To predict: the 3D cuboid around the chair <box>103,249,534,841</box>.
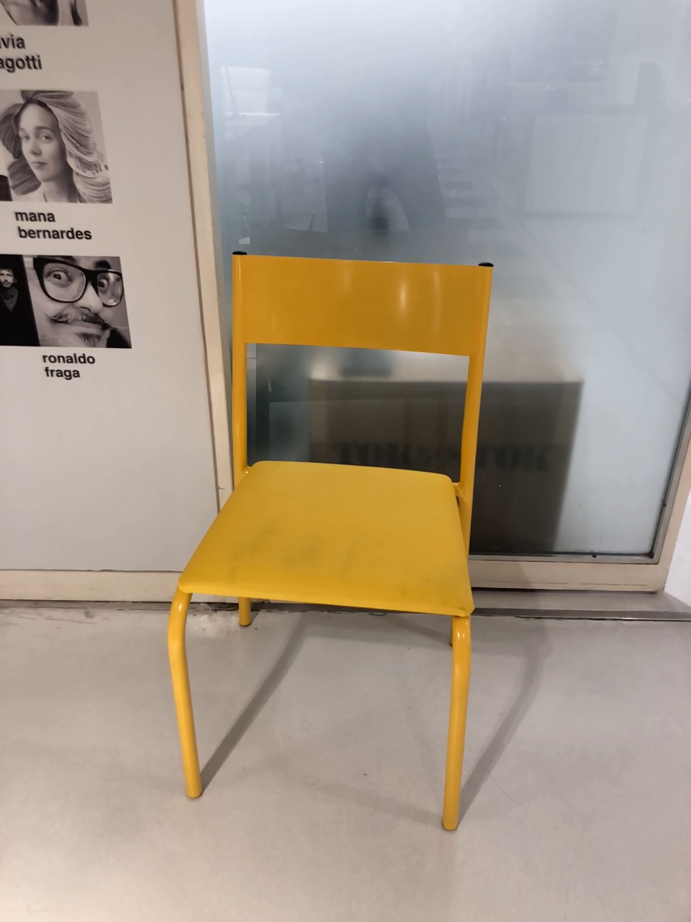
[{"bbox_3d":[-0.007,0.114,1.264,0.490,0.784,0.524,4,29,6],"label":"chair"}]
